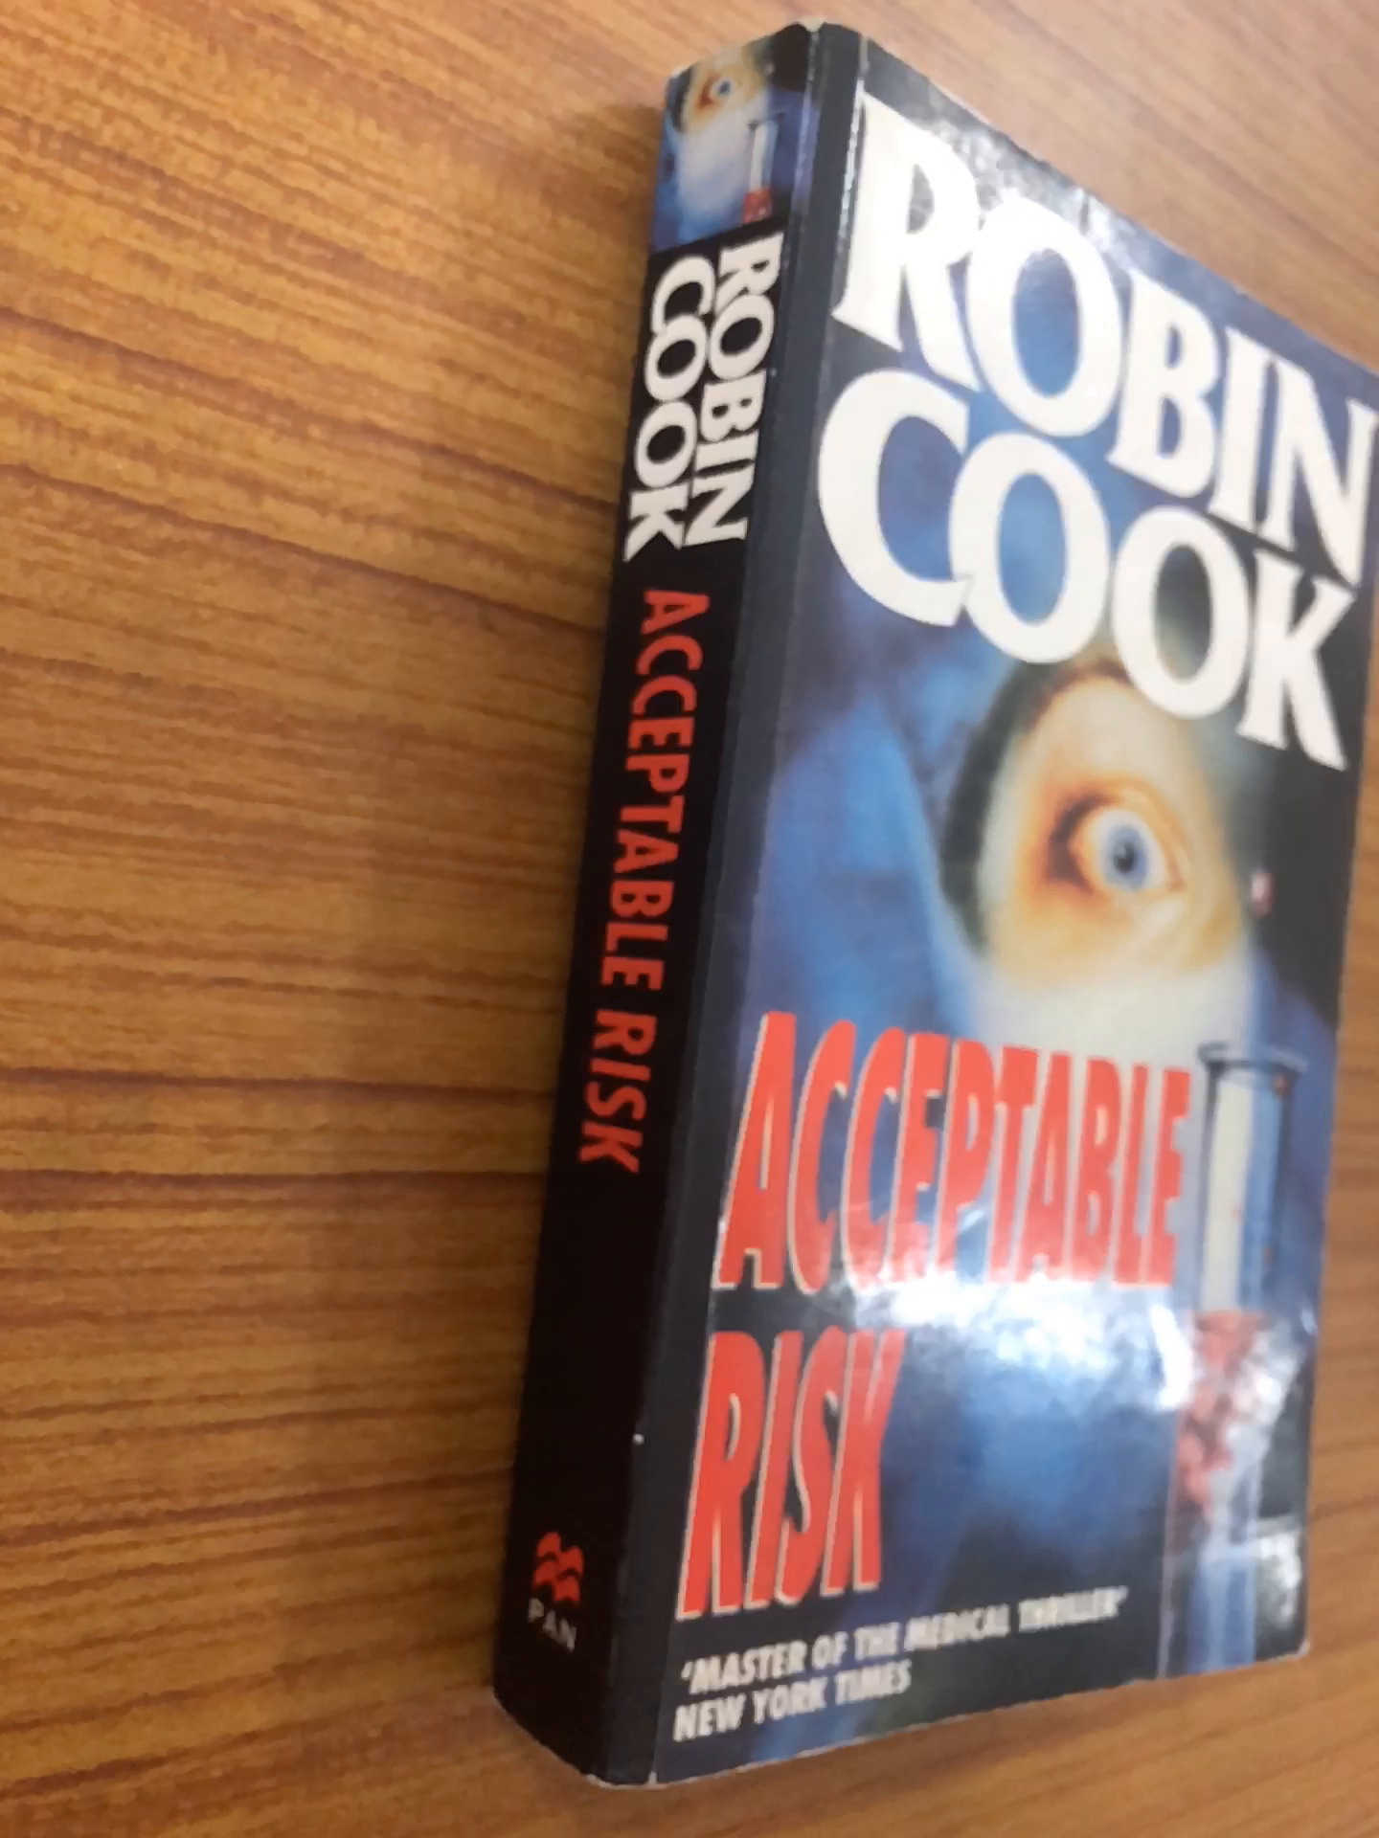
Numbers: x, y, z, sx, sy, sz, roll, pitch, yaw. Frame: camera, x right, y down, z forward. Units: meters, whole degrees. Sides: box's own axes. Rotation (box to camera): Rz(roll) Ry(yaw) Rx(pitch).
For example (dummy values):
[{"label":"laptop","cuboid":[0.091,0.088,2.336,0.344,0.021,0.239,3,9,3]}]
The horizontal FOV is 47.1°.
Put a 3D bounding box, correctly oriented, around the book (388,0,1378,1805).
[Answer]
[{"label":"book","cuboid":[0.034,0.001,0.193,0.111,0.040,0.170,11,85,-38]}]
